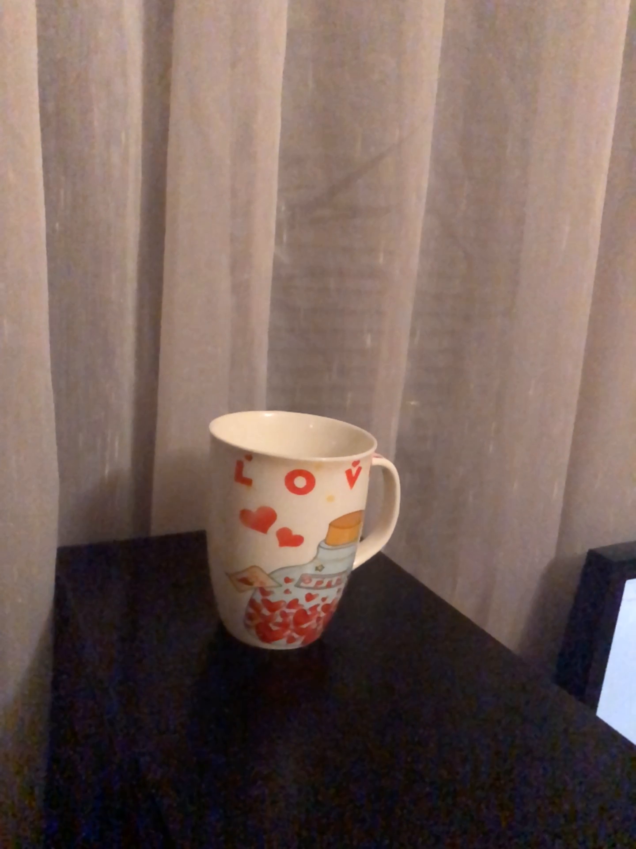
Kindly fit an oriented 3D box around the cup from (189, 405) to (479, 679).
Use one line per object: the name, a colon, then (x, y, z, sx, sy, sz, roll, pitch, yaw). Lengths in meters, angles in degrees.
cup: (0.004, 0.049, 0.352, 0.111, 0.098, 0.078, -3, 17, -30)
